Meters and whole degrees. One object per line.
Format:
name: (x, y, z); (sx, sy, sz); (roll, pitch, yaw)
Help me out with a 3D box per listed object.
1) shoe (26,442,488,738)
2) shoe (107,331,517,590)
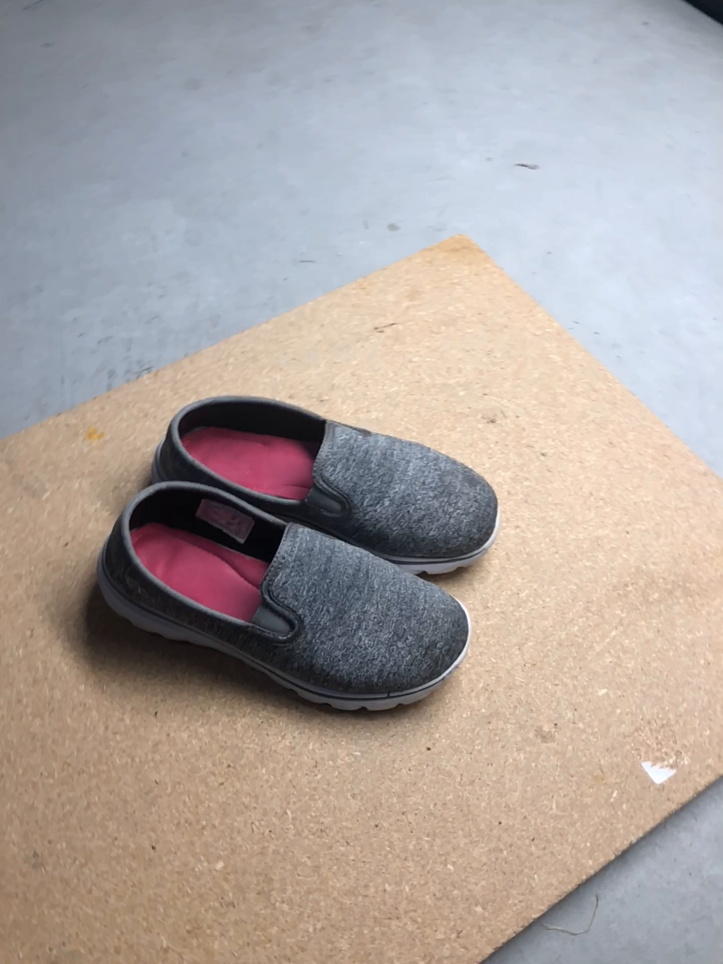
shoe: (-0.059, 0.064, 0.496); (0.250, 0.070, 0.100); (14, 58, 9)
shoe: (-0.031, -0.017, 0.555); (0.250, 0.073, 0.100); (14, 58, 9)
